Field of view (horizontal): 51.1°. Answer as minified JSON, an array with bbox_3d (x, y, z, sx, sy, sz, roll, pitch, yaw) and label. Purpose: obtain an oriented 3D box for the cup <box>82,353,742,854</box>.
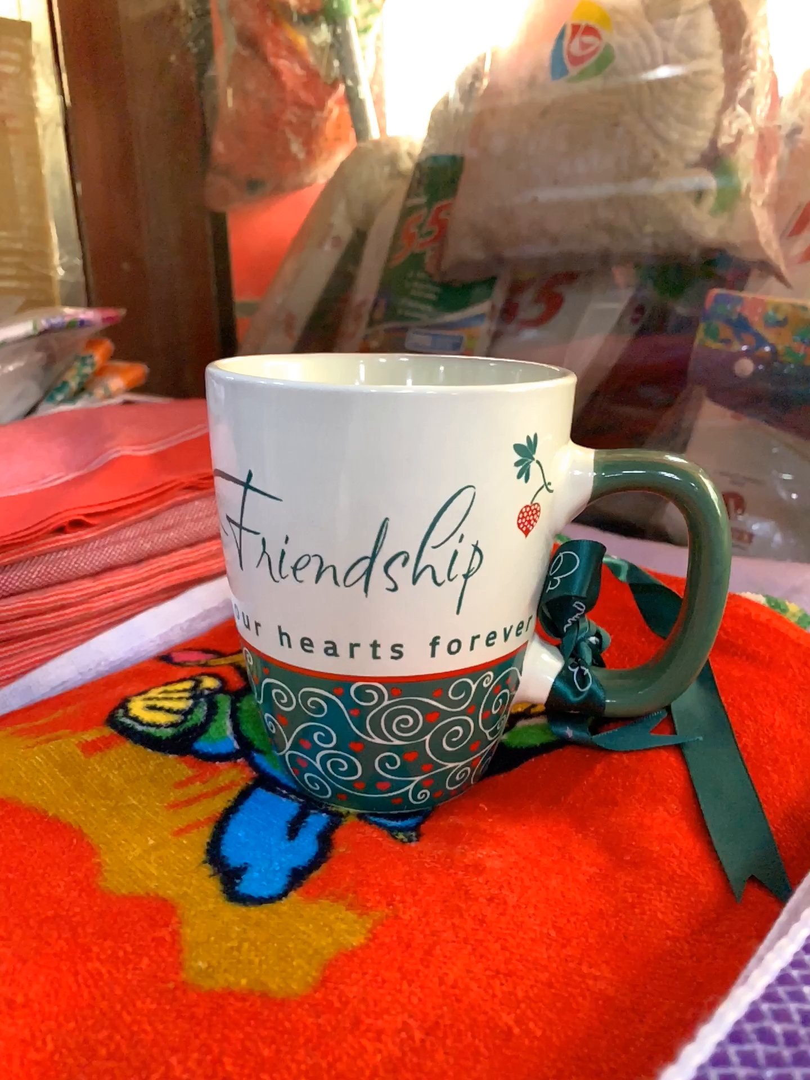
[{"bbox_3d":[0.007,0.003,0.227,0.132,0.094,0.101,3,18,11],"label":"cup"}]
